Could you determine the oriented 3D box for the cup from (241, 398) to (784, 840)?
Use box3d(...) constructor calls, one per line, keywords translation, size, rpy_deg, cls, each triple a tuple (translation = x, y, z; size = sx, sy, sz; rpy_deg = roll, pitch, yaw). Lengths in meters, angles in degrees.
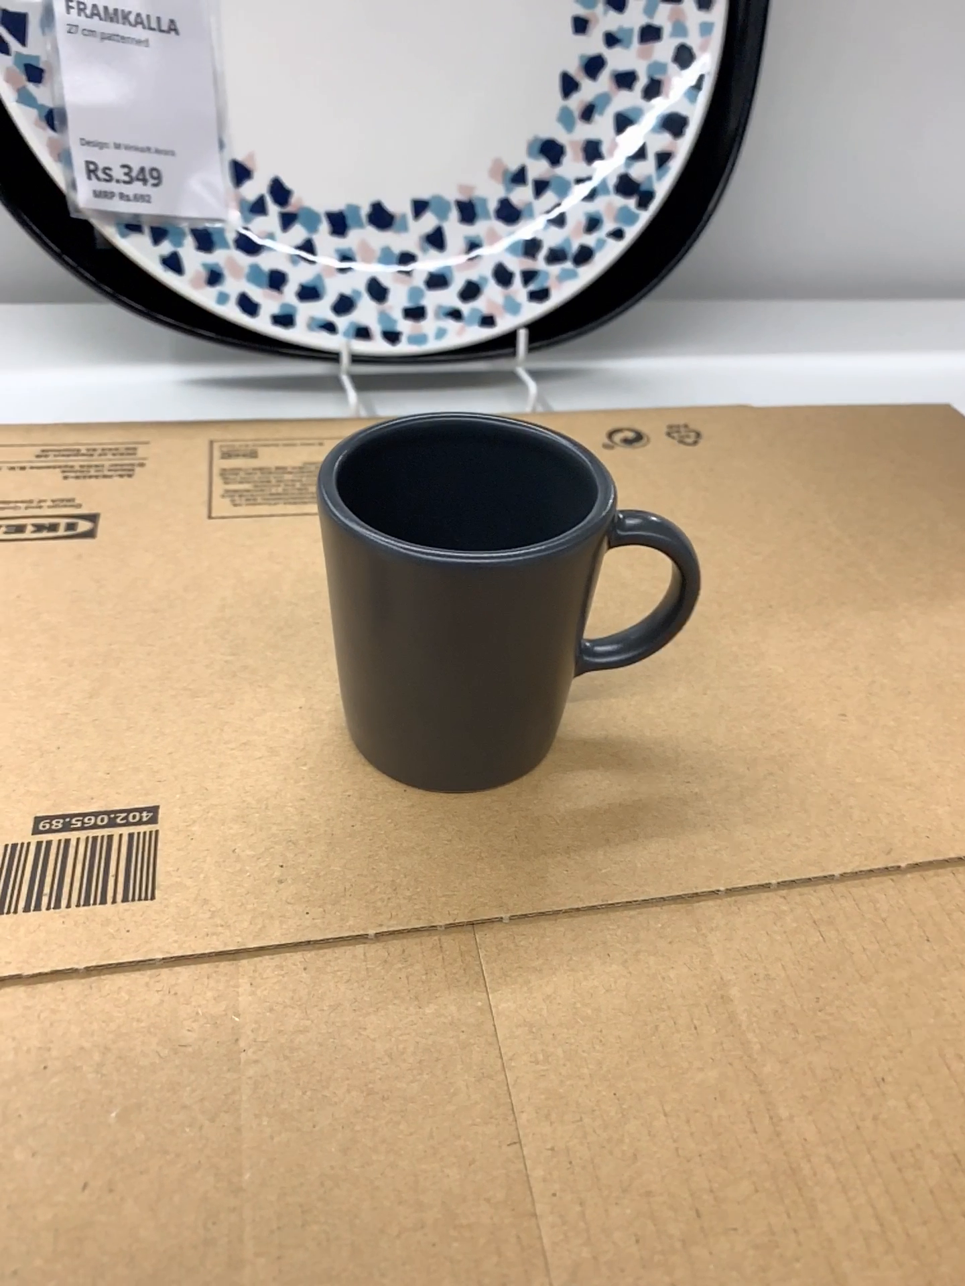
box3d(translation=(0.000, -0.008, 0.207), size=(0.090, 0.060, 0.060), rpy_deg=(-5, 37, -13), cls="cup")
